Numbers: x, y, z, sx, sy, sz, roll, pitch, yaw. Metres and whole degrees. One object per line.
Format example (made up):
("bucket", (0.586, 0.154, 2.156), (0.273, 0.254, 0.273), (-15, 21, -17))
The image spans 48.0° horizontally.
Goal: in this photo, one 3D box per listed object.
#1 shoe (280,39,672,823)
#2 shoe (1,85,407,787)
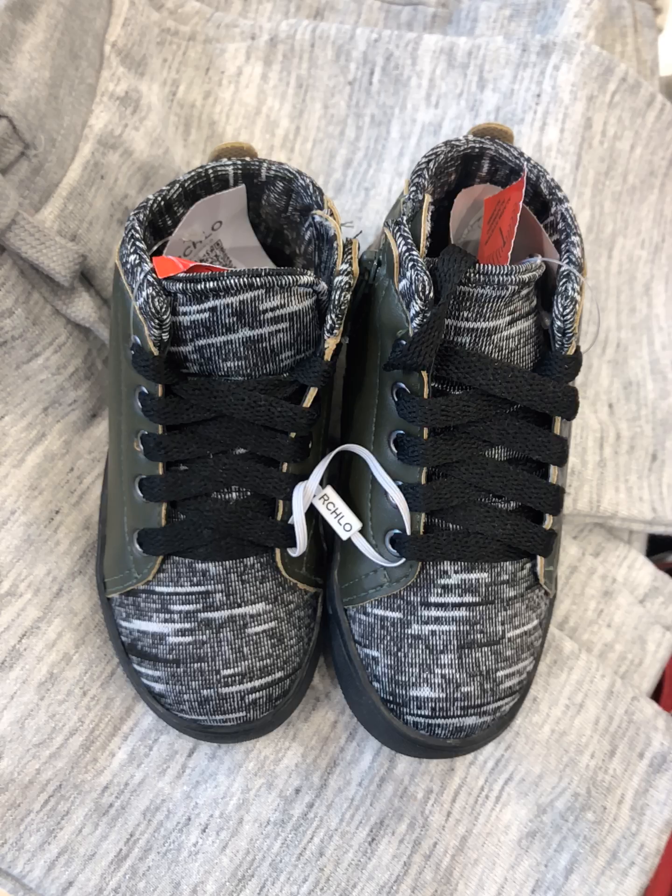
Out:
("shoe", (0.031, -0.004, 0.206), (0.080, 0.090, 0.170), (-2, 75, -8))
("shoe", (-0.032, 0.000, 0.214), (0.080, 0.090, 0.160), (1, 75, -7))
